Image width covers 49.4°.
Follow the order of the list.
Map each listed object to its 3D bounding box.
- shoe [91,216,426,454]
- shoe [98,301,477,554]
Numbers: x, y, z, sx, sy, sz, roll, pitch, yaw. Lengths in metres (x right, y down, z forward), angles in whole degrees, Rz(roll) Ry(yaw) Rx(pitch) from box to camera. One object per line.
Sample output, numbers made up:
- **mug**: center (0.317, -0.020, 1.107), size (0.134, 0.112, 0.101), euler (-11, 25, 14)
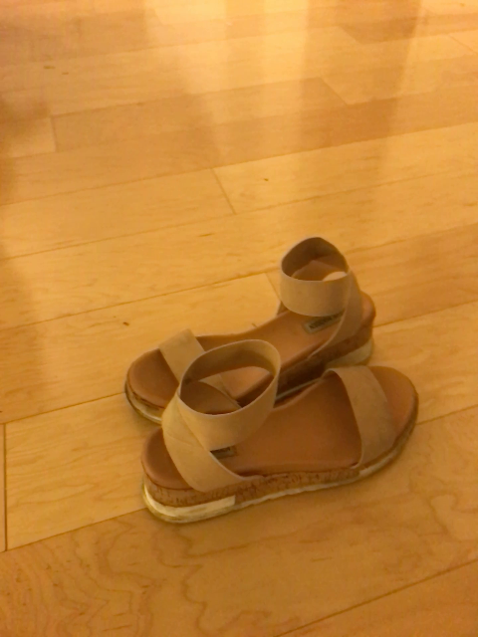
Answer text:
- **shoe**: center (0.018, 0.009, 0.485), size (0.270, 0.109, 0.101), euler (-18, 50, -16)
- **shoe**: center (0.040, 0.083, 0.416), size (0.270, 0.109, 0.091), euler (-13, 49, -12)
